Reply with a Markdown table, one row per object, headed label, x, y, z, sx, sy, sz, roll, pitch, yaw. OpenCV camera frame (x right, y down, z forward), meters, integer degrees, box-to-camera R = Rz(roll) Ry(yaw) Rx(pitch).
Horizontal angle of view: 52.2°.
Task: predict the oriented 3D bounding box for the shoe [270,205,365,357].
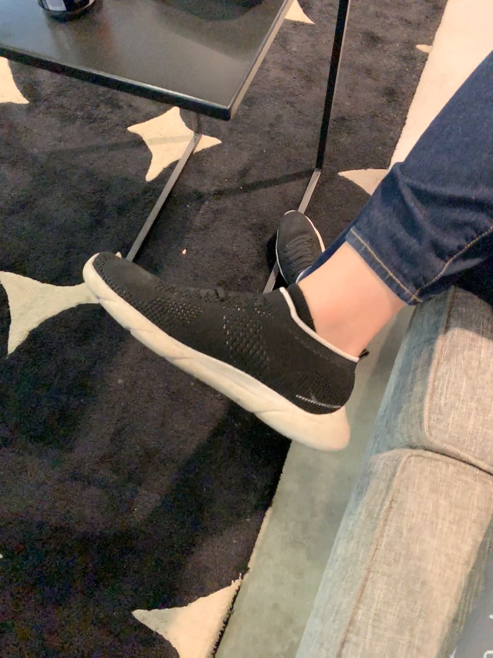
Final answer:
| label | x | y | z | sx | sy | sz | roll | pitch | yaw |
| --- | --- | --- | --- | --- | --- | --- | --- | --- | --- |
| shoe | 0.140 | -0.104 | 1.053 | 0.116 | 0.074 | 0.304 | -11 | 66 | -3 |

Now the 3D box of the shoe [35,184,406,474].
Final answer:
| label | x | y | z | sx | sy | sz | roll | pitch | yaw |
| --- | --- | --- | --- | --- | --- | --- | --- | --- | --- |
| shoe | -0.022 | 0.003 | 0.471 | 0.276 | 0.112 | 0.132 | 26 | 84 | -1 |
